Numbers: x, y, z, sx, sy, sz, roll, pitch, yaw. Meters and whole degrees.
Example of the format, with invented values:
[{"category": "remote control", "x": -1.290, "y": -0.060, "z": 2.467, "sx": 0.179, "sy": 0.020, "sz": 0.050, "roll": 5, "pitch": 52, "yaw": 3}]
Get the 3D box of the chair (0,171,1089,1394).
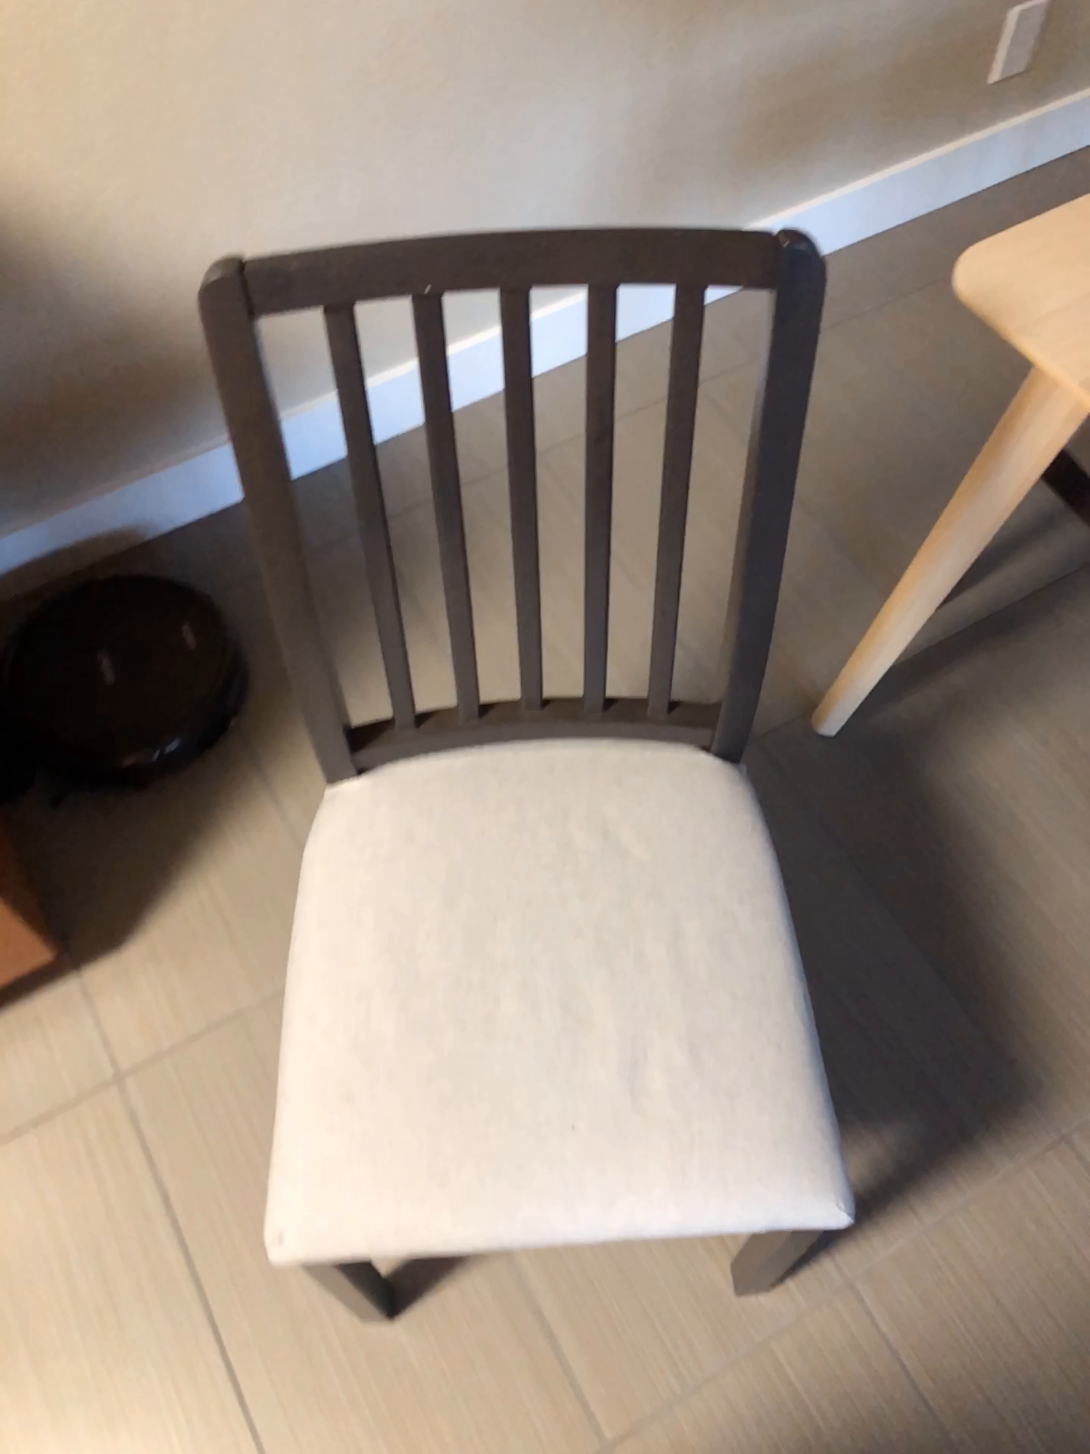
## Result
[{"category": "chair", "x": 0.006, "y": 0.142, "z": 0.953, "sx": 0.580, "sy": 0.848, "sz": 0.592, "roll": -4, "pitch": 58, "yaw": -1}]
